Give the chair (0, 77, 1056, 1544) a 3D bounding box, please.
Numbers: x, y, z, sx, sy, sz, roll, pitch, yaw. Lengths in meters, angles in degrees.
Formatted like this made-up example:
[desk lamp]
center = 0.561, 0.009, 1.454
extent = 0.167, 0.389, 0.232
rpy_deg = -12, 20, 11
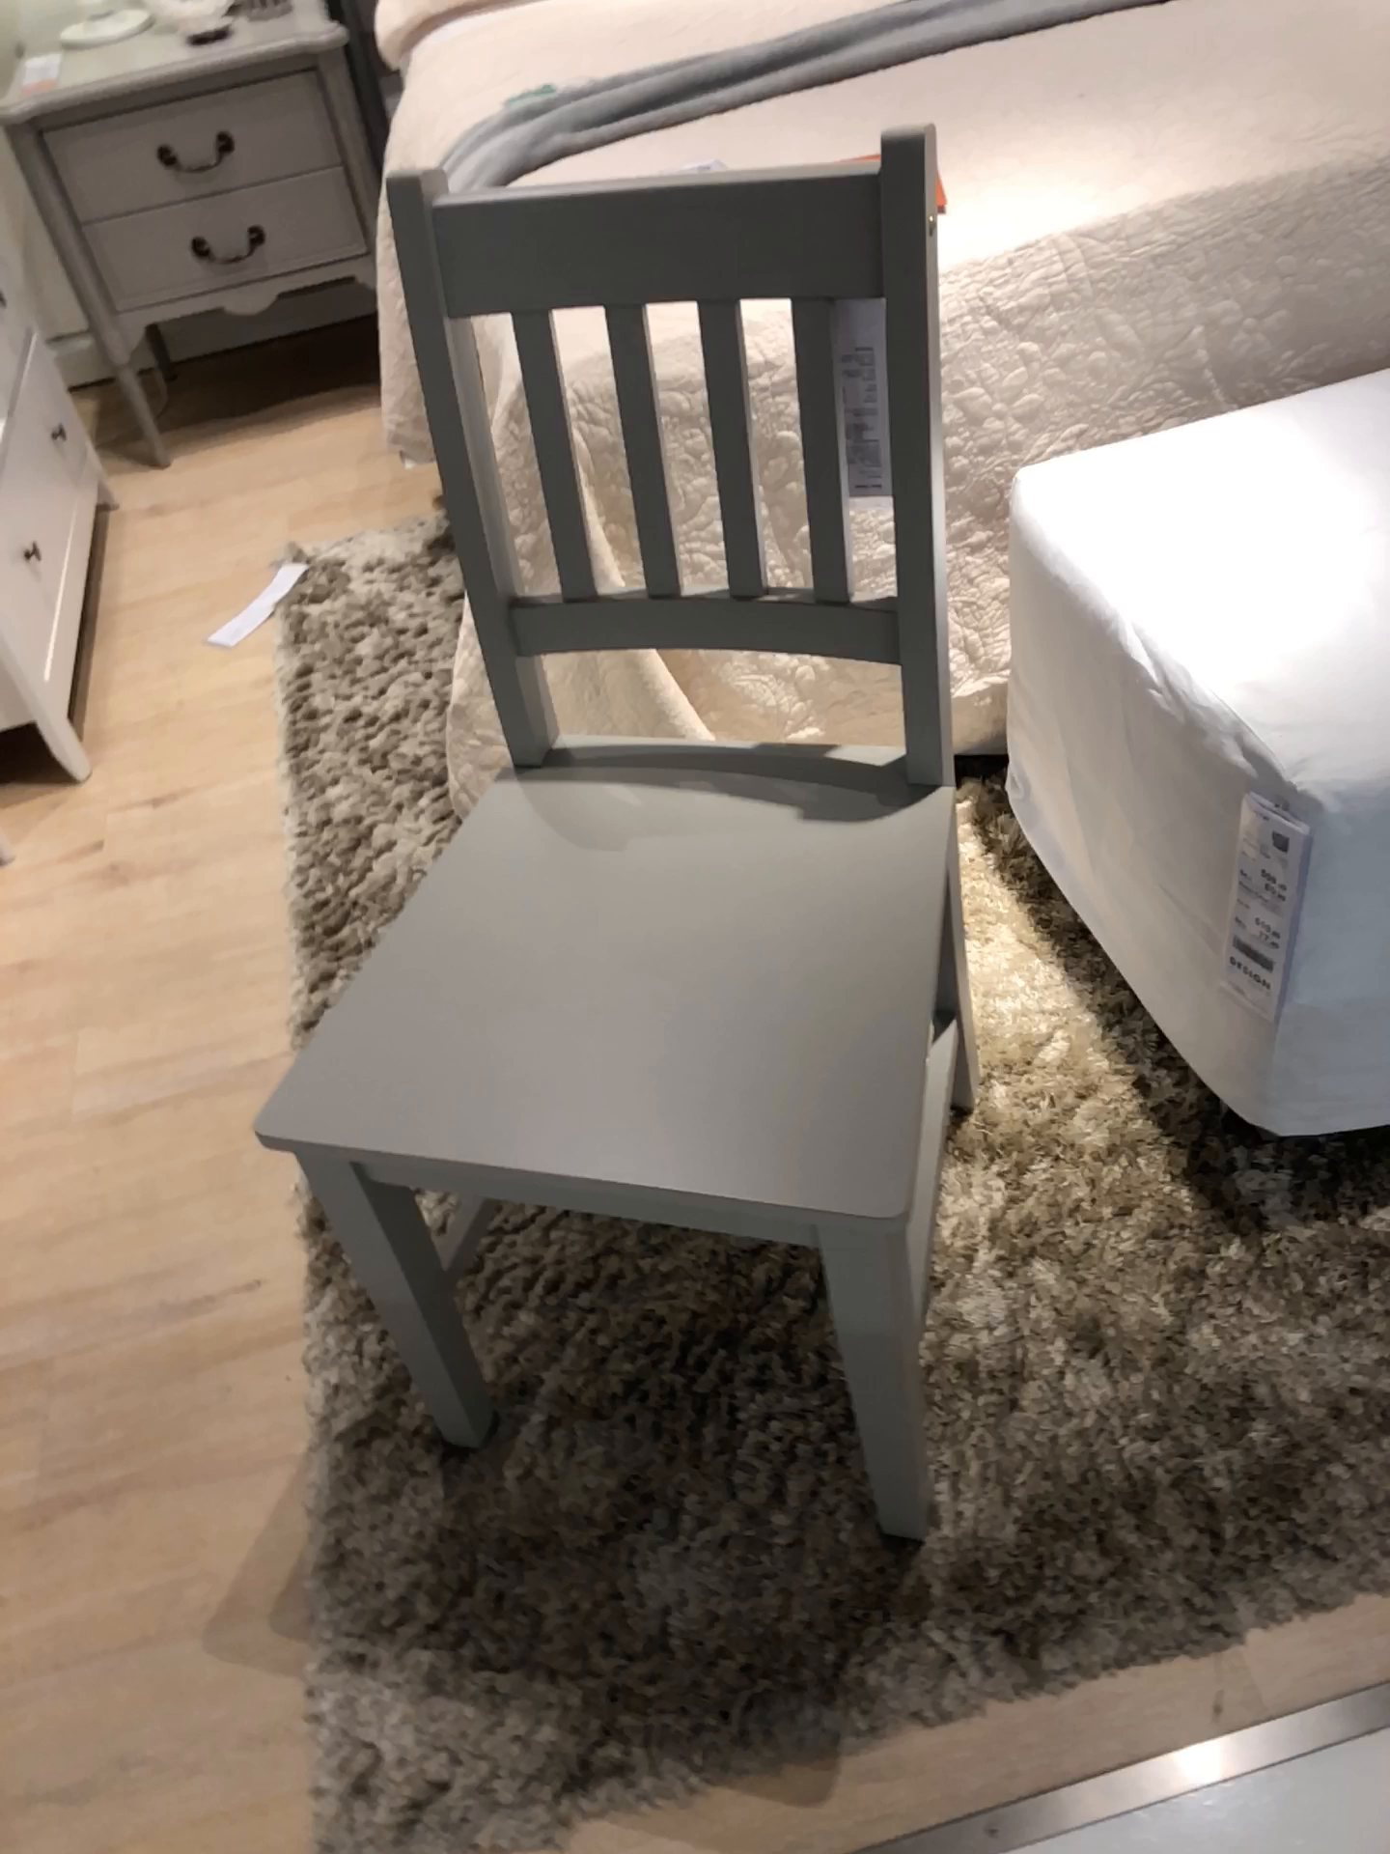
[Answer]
[chair]
center = -0.016, -0.047, 1.084
extent = 0.480, 0.824, 0.534
rpy_deg = 4, 45, 16
